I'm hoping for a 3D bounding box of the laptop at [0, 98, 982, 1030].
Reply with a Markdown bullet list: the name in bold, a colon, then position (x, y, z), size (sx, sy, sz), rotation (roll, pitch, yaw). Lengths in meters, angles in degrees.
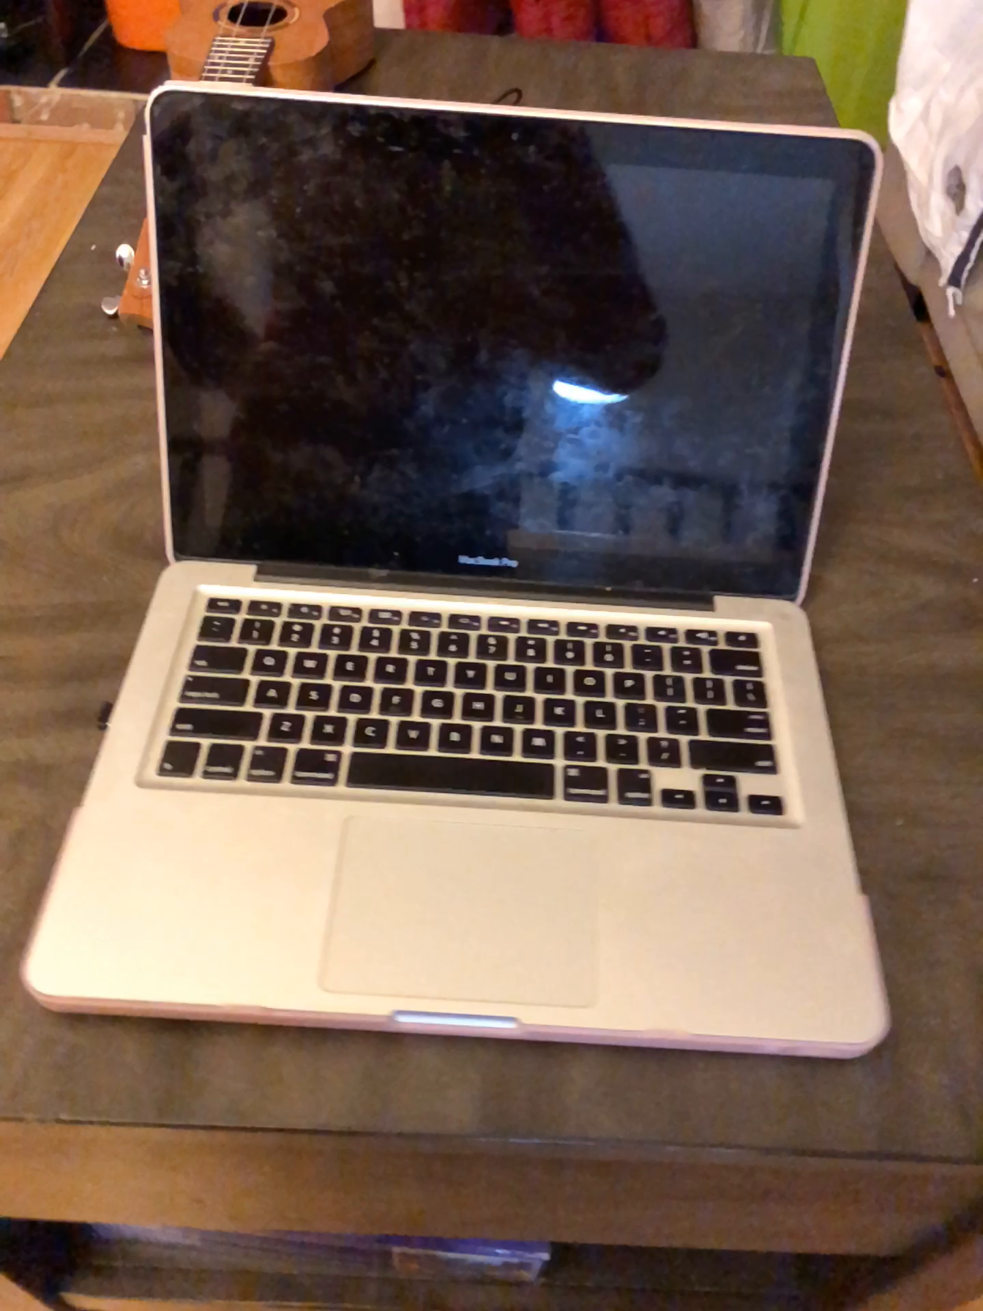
- **laptop**: position (-0.004, -0.051, 0.435), size (0.312, 0.185, 0.323), rotation (3, 50, 0)
